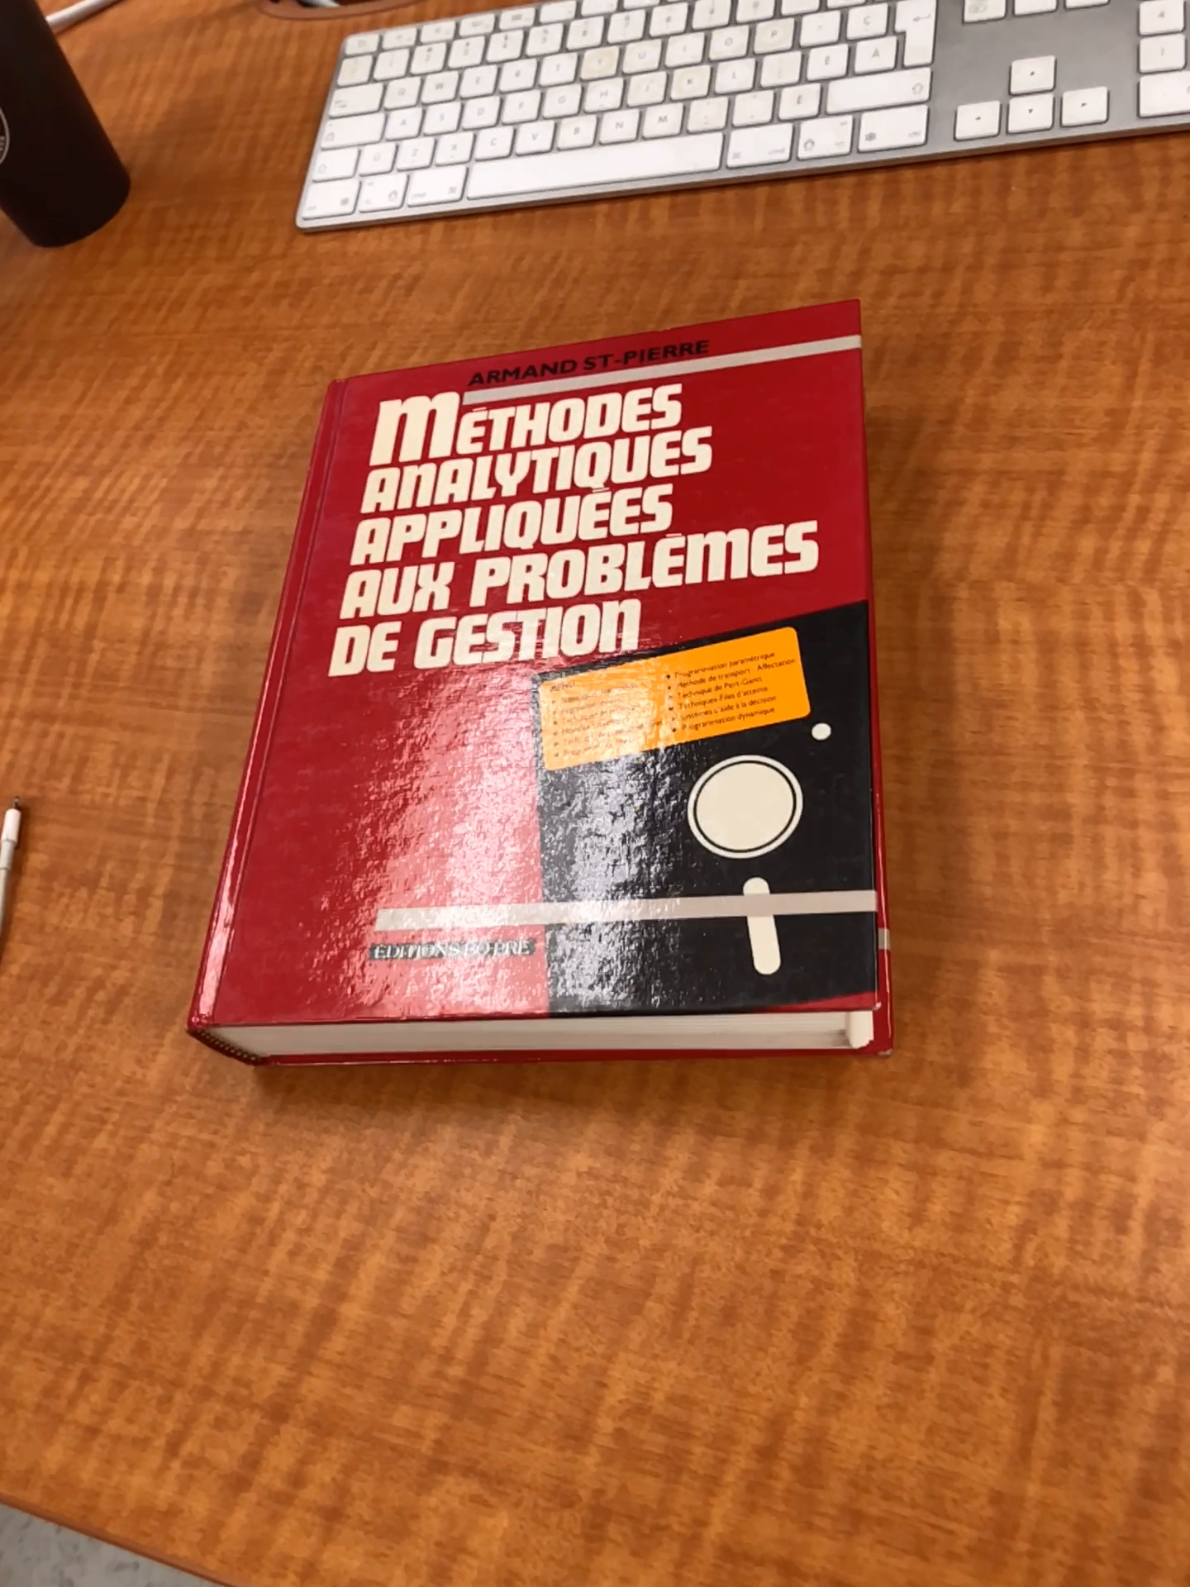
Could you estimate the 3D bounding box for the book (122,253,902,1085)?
[{"bbox_3d":[-0.014,-0.042,0.403,0.200,0.050,0.251,-3,62,15],"label":"book"}]
